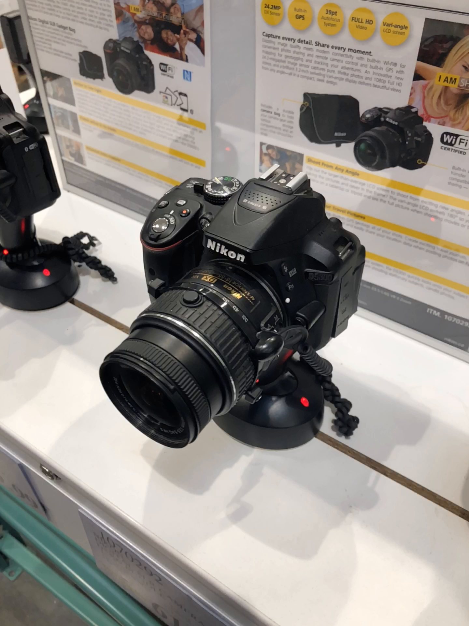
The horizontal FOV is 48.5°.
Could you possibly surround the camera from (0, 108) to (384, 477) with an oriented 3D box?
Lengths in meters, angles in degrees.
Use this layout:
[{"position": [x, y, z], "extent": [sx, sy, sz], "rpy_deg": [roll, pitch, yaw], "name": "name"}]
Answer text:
[{"position": [-0.018, -0.025, 0.280], "extent": [0.130, 0.089, 0.151], "rpy_deg": [24, 49, 22], "name": "camera"}]
